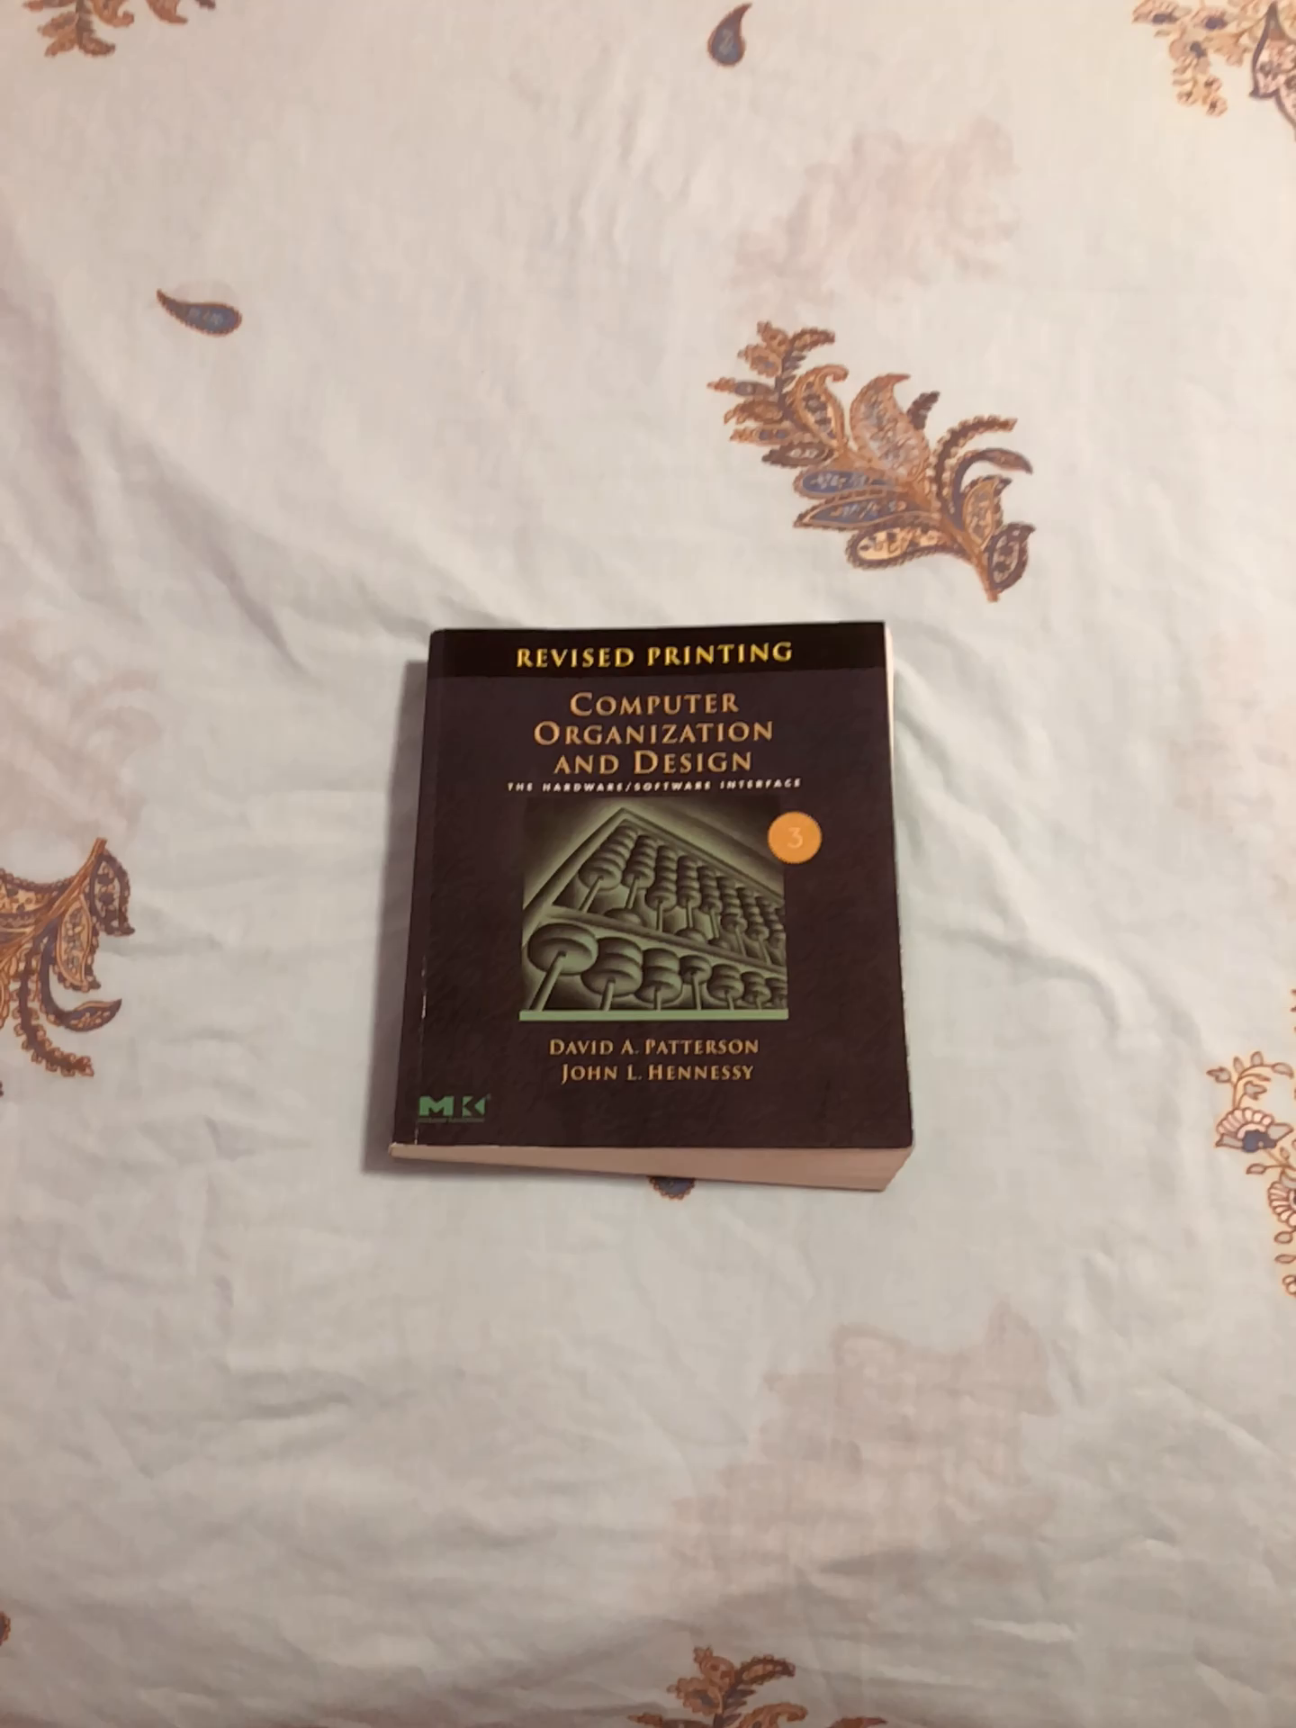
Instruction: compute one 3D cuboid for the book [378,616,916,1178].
[{"bbox_3d":[0.001,0.013,0.606,0.201,0.073,0.225,0,71,1],"label":"book"}]
